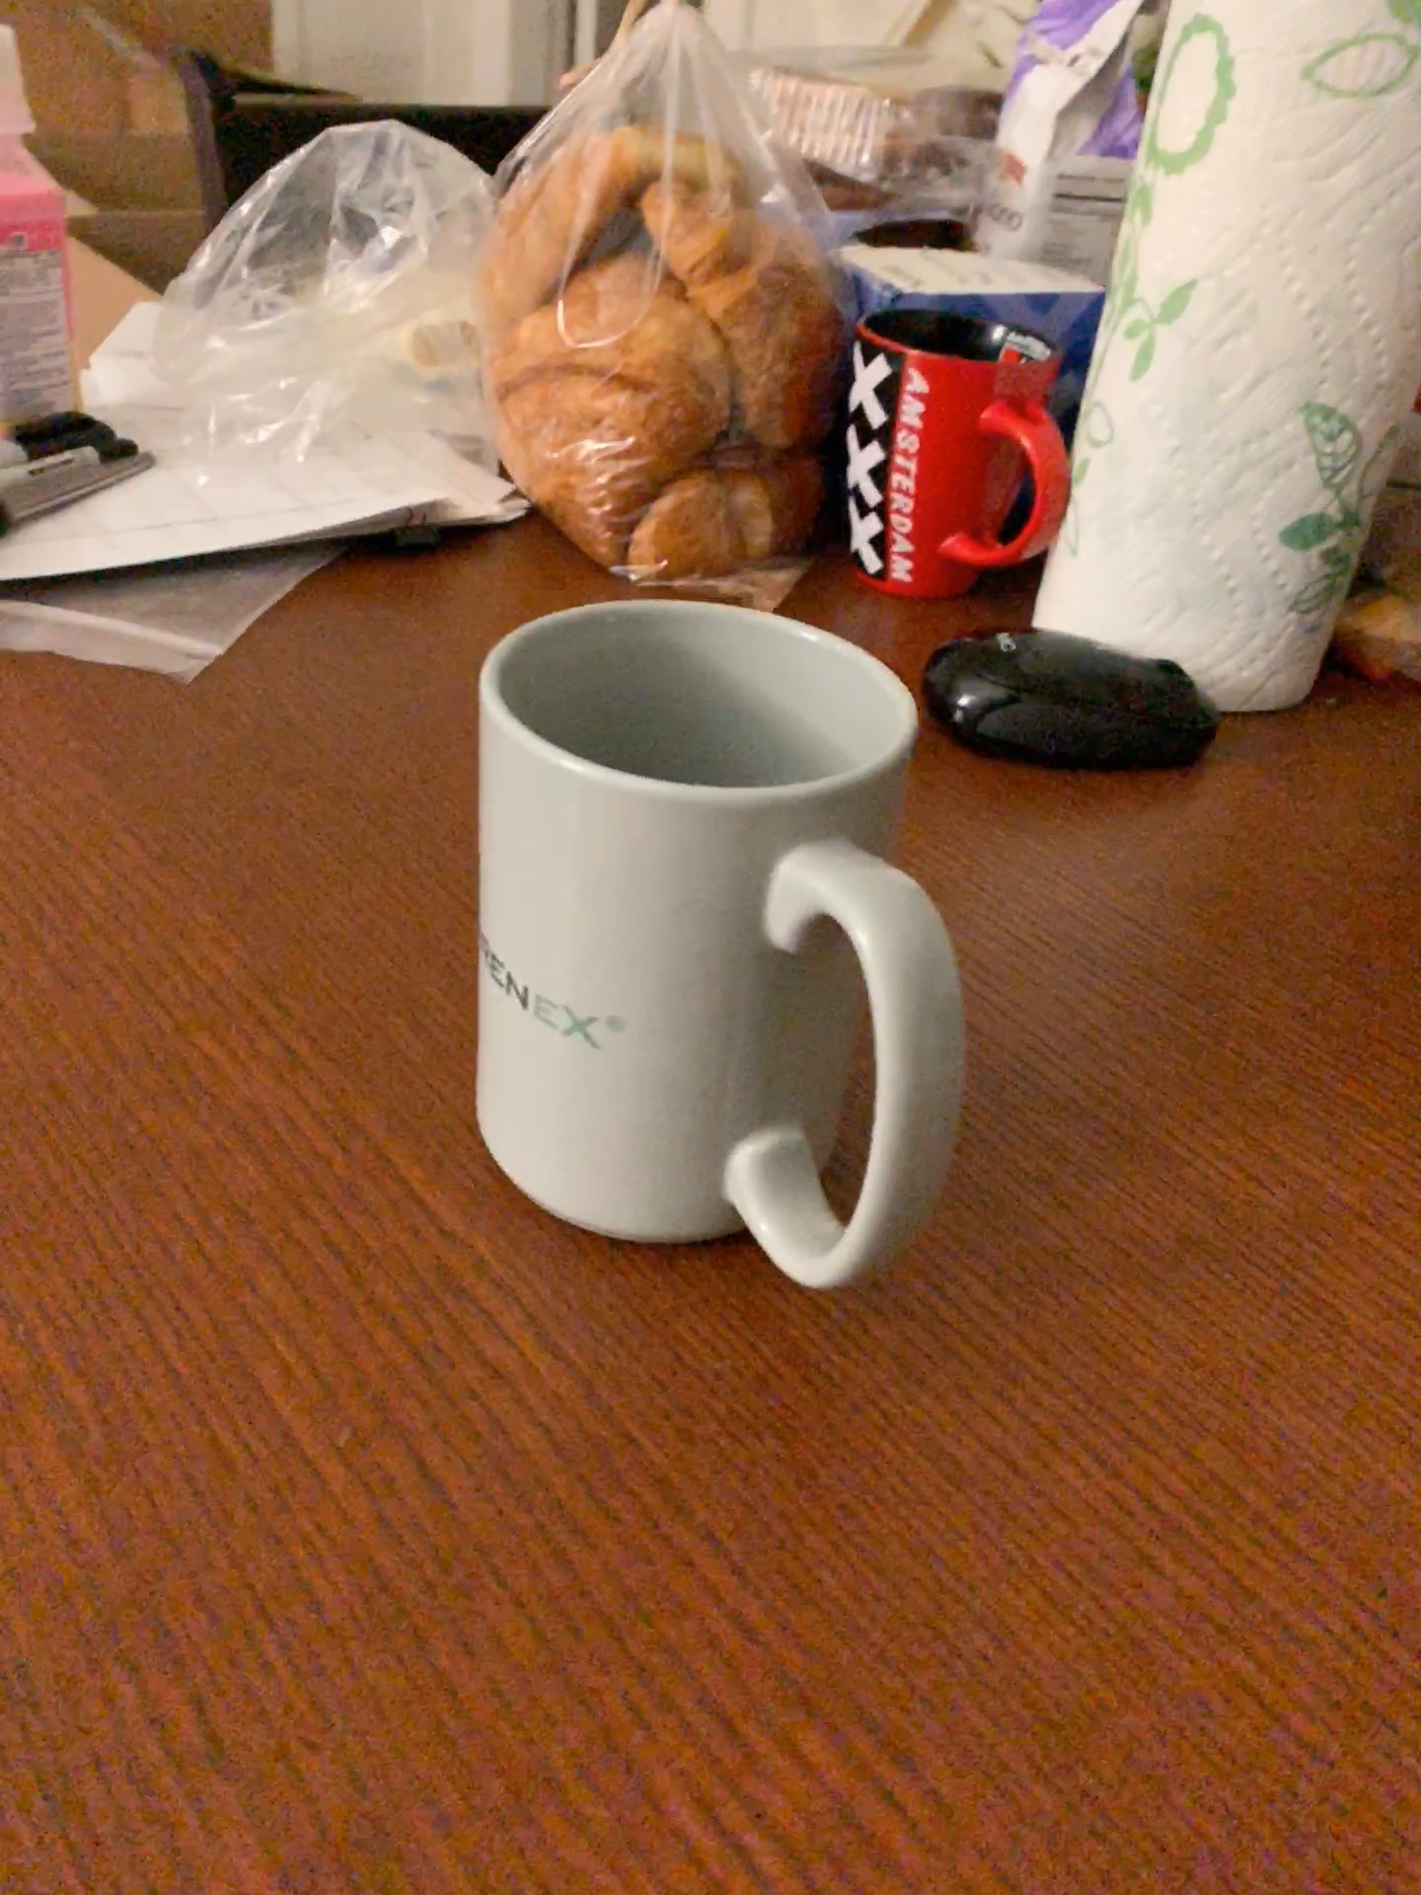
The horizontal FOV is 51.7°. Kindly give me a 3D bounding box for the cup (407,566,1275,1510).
[{"bbox_3d":[0.009,0.005,0.295,0.100,0.109,0.141,-12,39,-25],"label":"cup"}]
